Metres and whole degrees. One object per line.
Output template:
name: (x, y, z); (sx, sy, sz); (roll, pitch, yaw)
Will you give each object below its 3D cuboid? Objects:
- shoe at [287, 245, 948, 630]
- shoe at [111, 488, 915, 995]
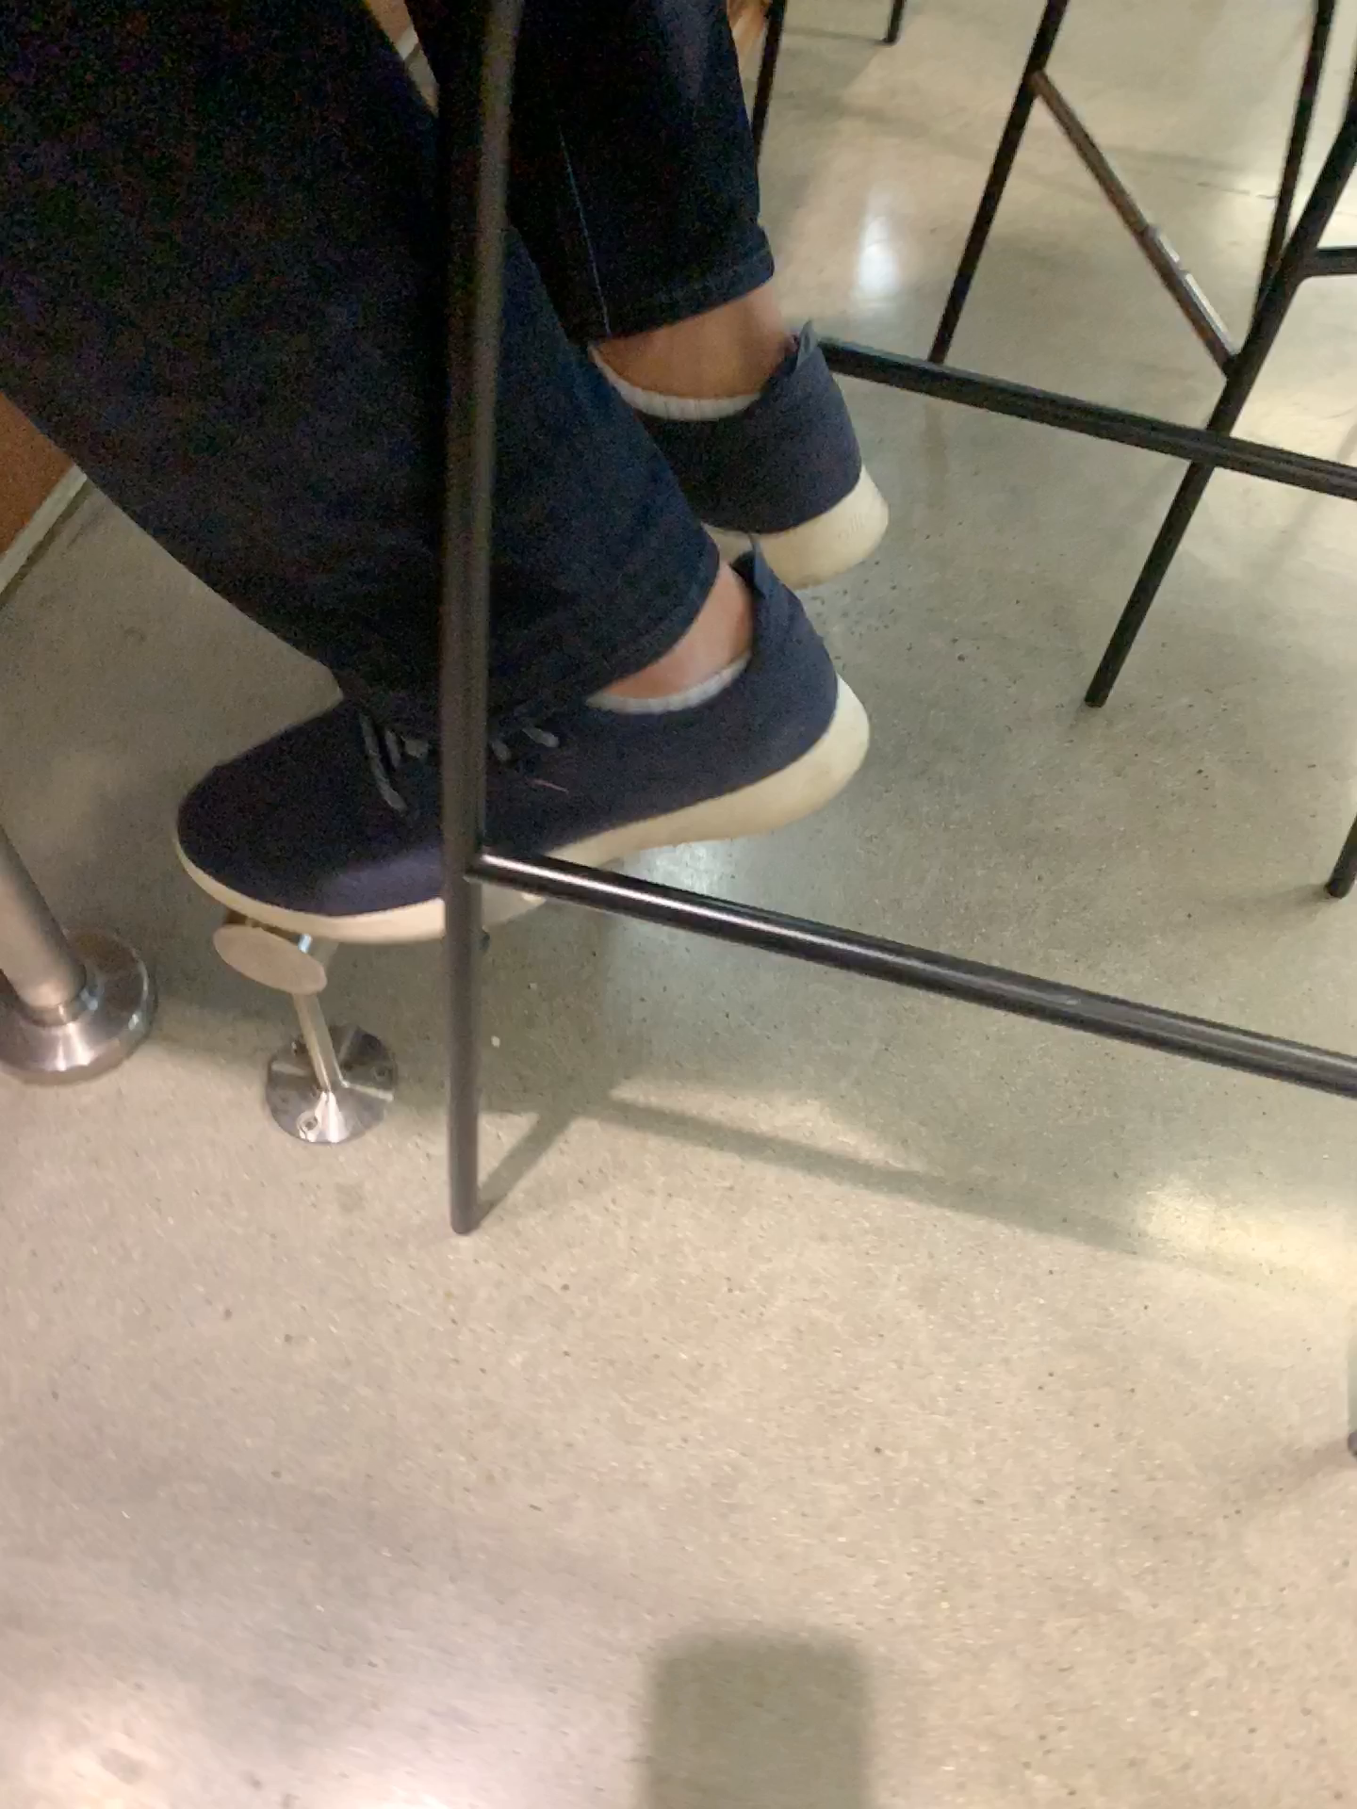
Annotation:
shoe: (-0.031, -0.247, 0.710); (0.301, 0.093, 0.129); (19, 52, 23)
shoe: (-0.064, -0.067, 0.581); (0.299, 0.093, 0.124); (-11, 53, 3)
